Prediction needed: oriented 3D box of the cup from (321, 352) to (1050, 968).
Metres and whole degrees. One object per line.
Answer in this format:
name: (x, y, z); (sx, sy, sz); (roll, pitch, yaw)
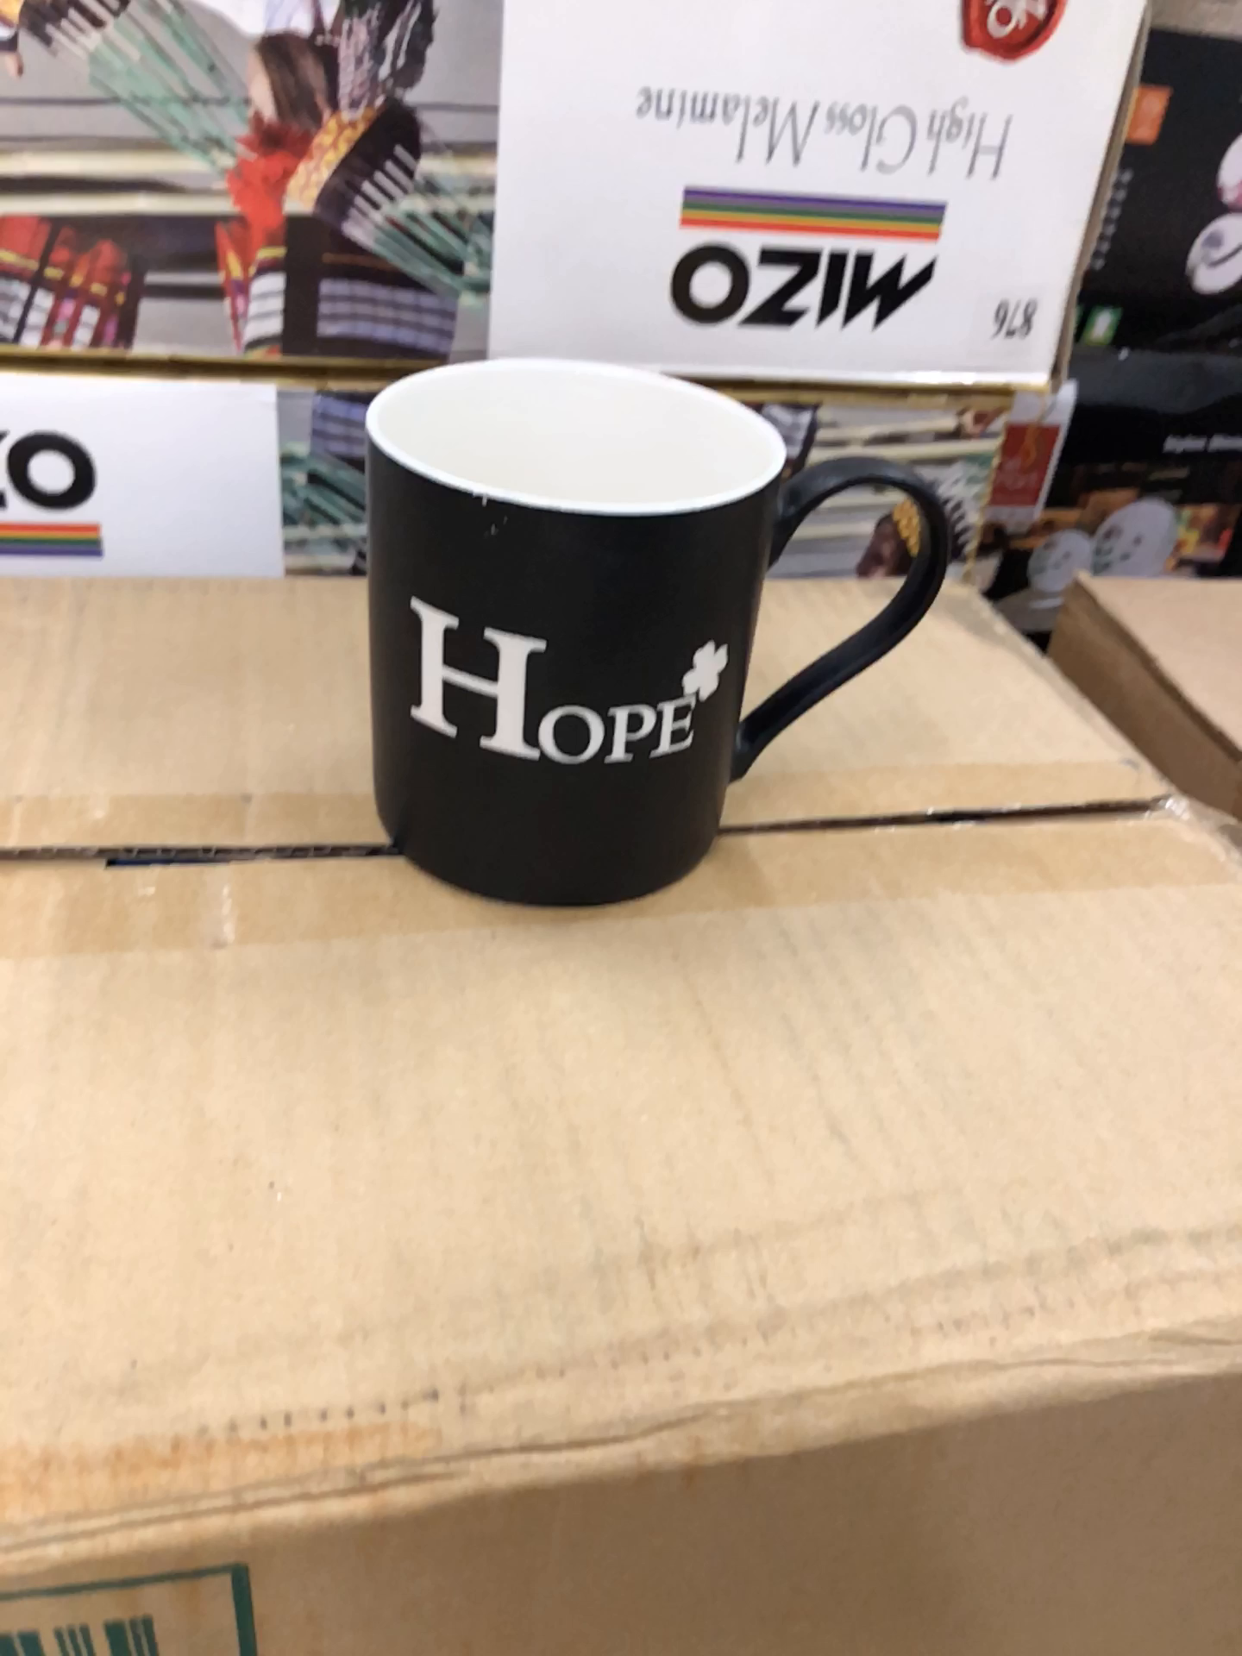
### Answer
cup: (0.003, -0.041, 0.293); (0.120, 0.089, 0.090); (-5, 36, -17)
